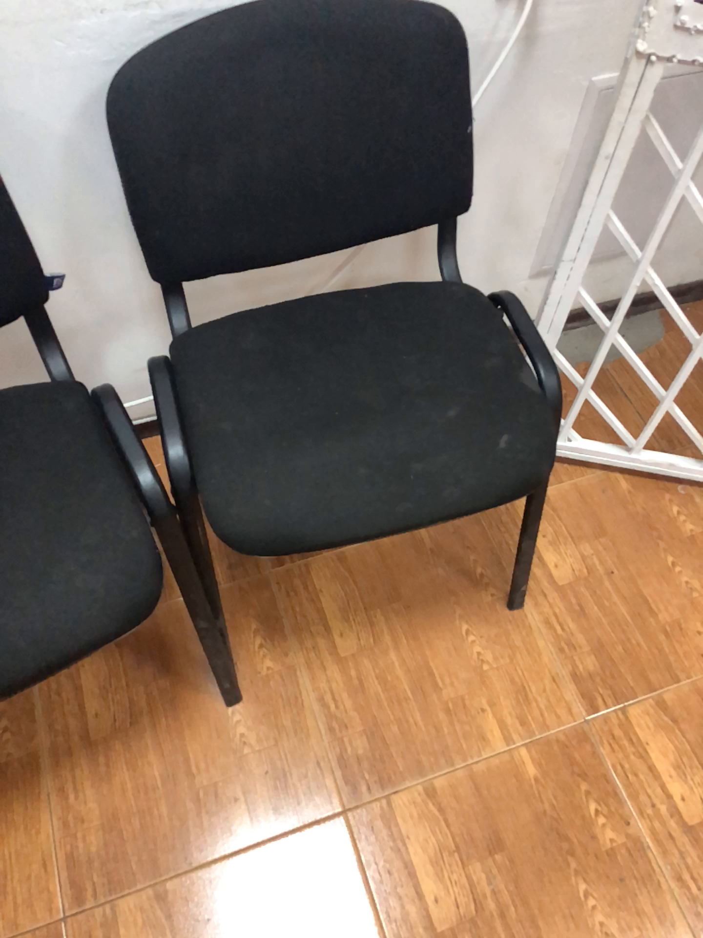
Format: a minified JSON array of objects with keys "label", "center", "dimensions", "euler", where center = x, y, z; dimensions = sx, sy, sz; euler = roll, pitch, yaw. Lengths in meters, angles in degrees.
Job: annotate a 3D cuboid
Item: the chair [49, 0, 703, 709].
[{"label":"chair","center":[-0.004,-0.147,1.074],"dimensions":[0.570,0.688,0.621],"euler":[-13,58,-11]}]
